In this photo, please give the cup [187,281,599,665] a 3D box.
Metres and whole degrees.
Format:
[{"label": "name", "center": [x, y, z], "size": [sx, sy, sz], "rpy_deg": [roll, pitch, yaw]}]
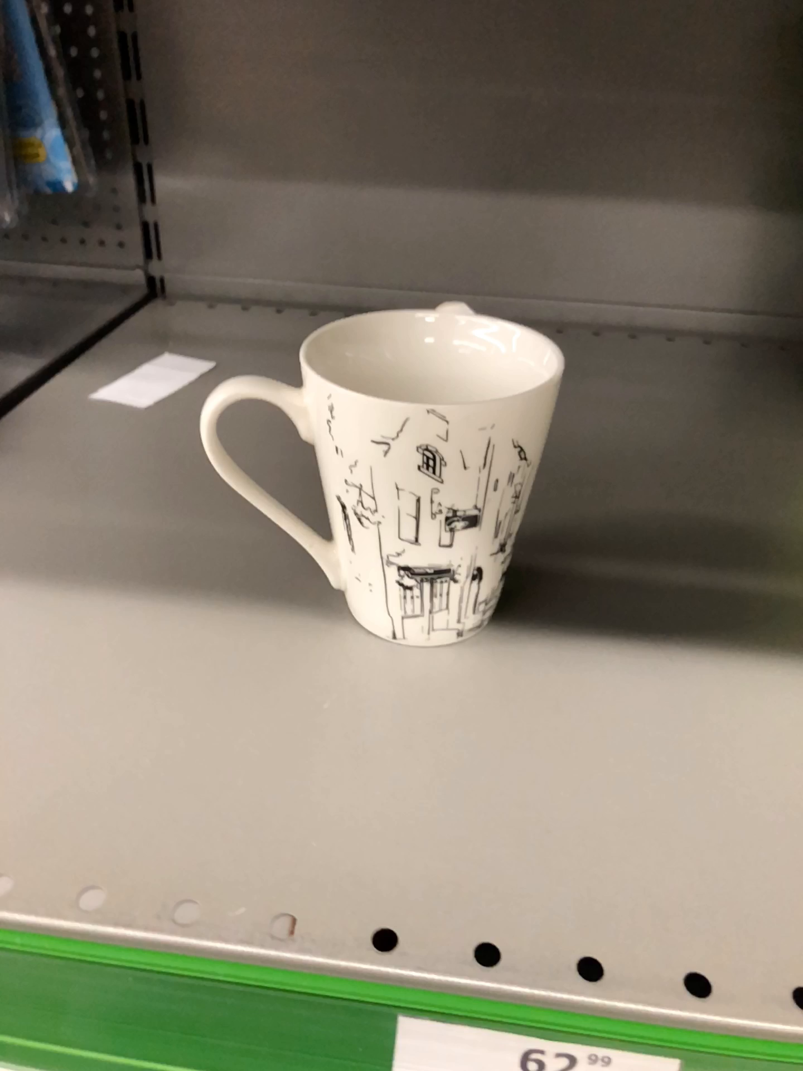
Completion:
[{"label": "cup", "center": [-0.006, -0.026, 0.310], "size": [0.114, 0.098, 0.092], "rpy_deg": [-2, 32, -5]}]
